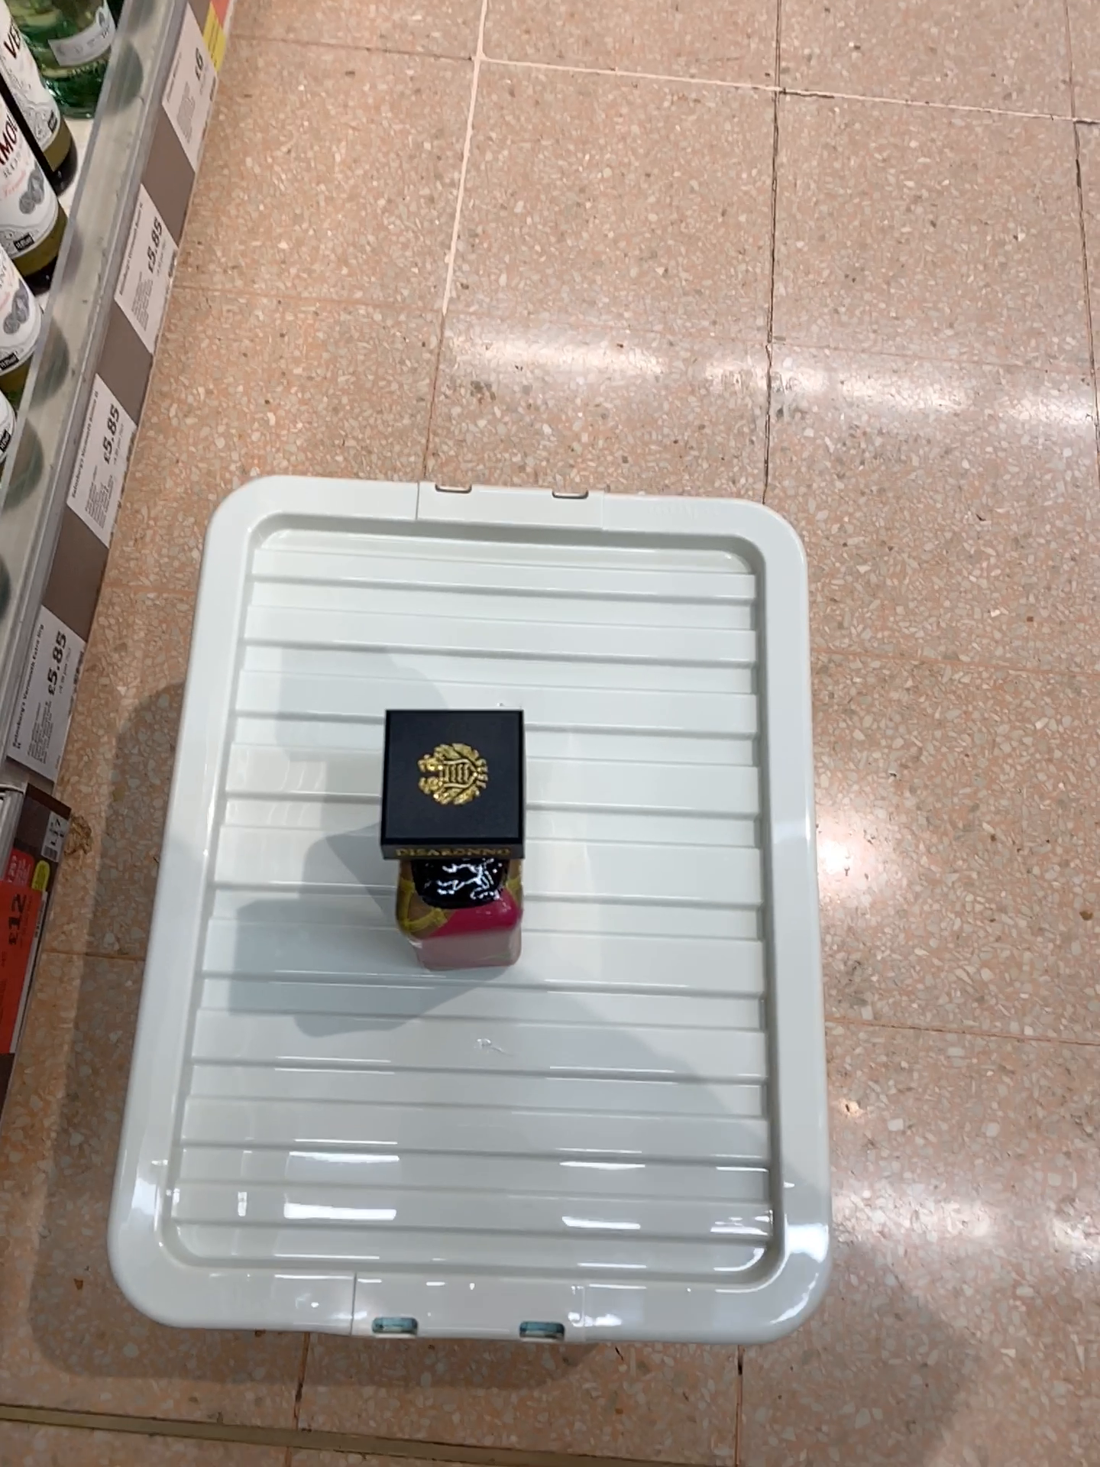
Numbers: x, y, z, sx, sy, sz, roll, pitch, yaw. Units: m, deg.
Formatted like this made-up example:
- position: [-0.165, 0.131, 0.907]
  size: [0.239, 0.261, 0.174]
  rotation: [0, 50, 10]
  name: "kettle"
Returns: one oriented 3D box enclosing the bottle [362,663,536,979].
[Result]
- position: [-0.039, 0.051, 0.502]
  size: [0.060, 0.199, 0.100]
  rotation: [1, 73, -2]
  name: "bottle"
